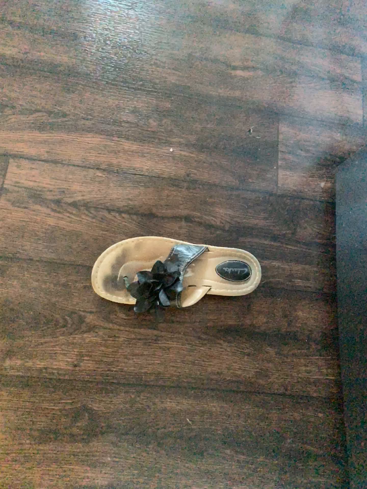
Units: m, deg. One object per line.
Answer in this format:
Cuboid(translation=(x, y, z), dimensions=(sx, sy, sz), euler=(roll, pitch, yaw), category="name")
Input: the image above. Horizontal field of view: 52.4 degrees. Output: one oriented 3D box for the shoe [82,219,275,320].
Cuboid(translation=(-0.002, 0.039, 0.519), dimensions=(0.250, 0.050, 0.110), euler=(6, 75, -7), category="shoe")
